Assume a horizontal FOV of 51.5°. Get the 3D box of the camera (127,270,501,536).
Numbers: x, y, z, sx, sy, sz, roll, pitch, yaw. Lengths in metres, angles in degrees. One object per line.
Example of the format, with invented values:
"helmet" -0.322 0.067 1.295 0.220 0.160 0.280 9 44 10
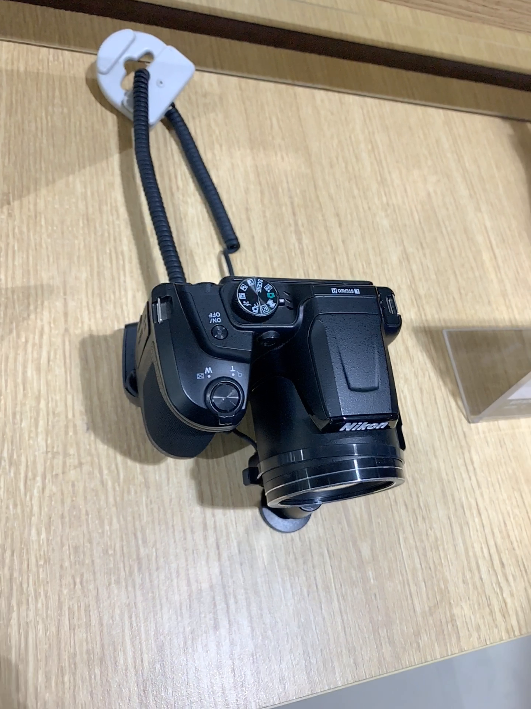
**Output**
"camera" 0.012 0.019 0.224 0.120 0.070 0.080 -3 69 -21
